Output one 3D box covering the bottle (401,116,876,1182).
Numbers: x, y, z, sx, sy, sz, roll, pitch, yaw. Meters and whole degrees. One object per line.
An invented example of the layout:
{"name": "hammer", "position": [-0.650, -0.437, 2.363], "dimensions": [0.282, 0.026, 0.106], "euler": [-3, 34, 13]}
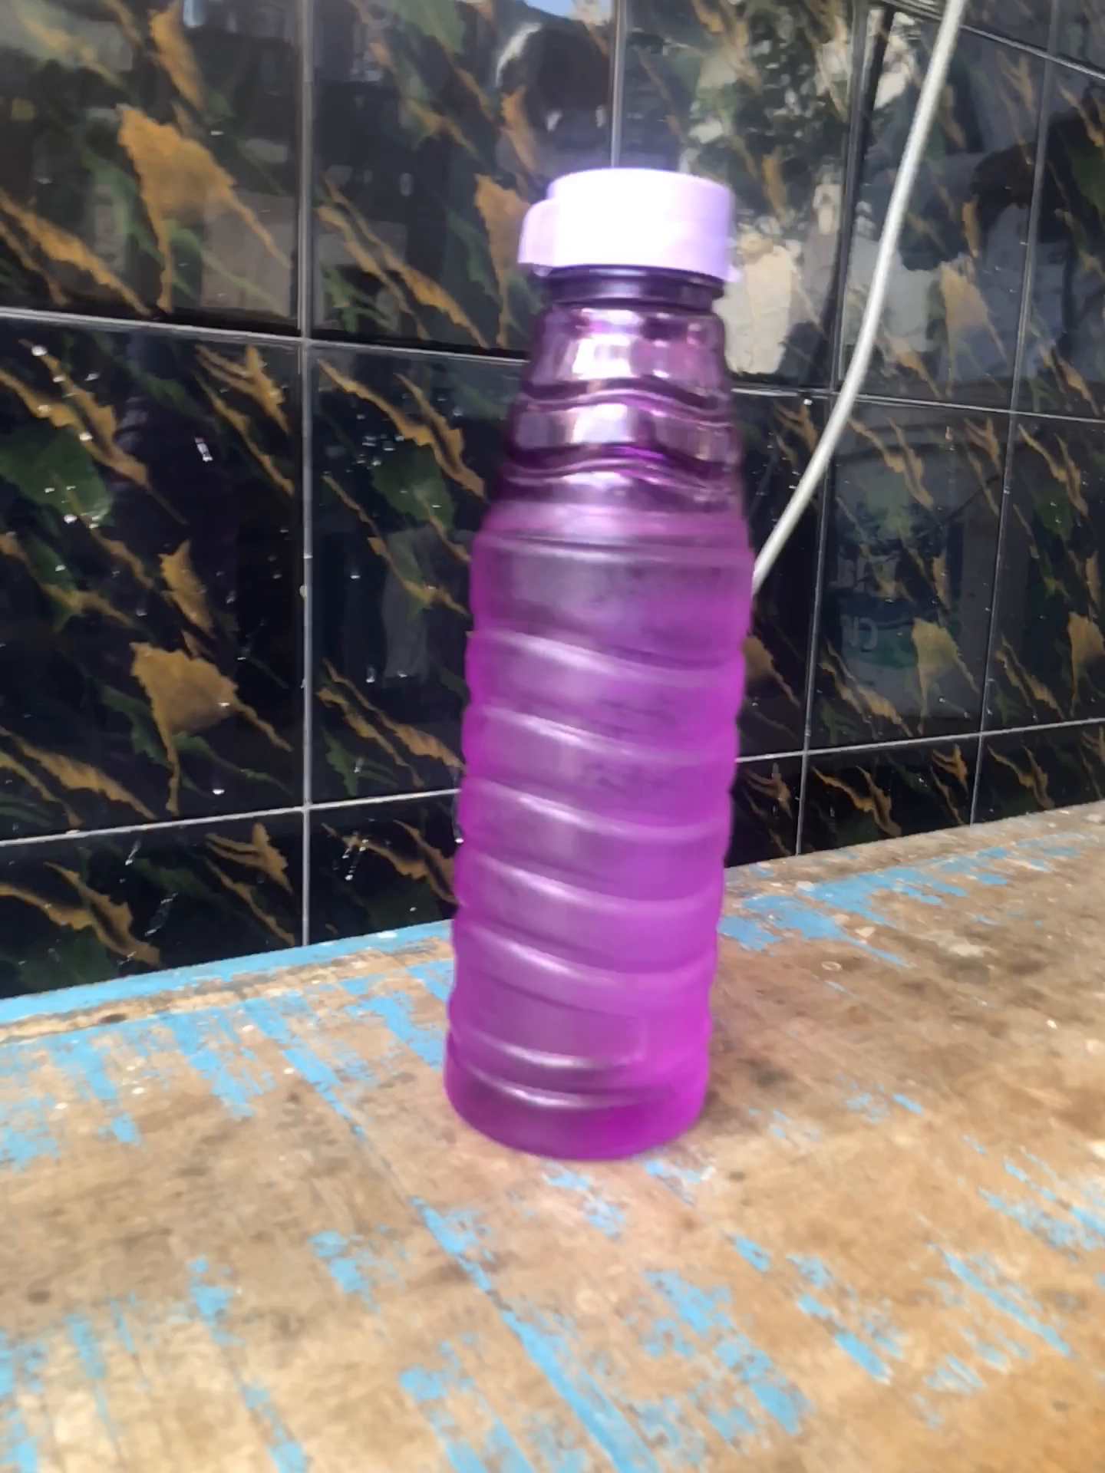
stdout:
{"name": "bottle", "position": [0.014, -0.019, 0.324], "dimensions": [0.090, 0.239, 0.080], "euler": [-2, 12, -21]}
